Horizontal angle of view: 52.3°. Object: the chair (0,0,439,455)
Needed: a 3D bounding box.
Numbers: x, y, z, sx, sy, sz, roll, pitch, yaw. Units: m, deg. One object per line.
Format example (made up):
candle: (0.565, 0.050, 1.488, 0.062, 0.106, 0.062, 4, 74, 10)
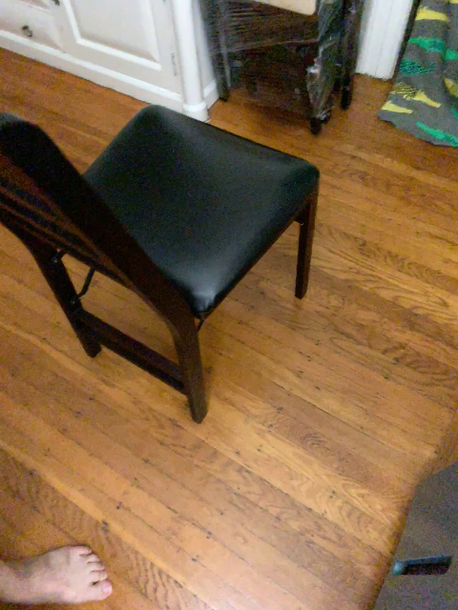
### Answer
chair: (-0.116, -0.215, 0.807, 0.491, 0.867, 0.551, 26, 63, 17)
